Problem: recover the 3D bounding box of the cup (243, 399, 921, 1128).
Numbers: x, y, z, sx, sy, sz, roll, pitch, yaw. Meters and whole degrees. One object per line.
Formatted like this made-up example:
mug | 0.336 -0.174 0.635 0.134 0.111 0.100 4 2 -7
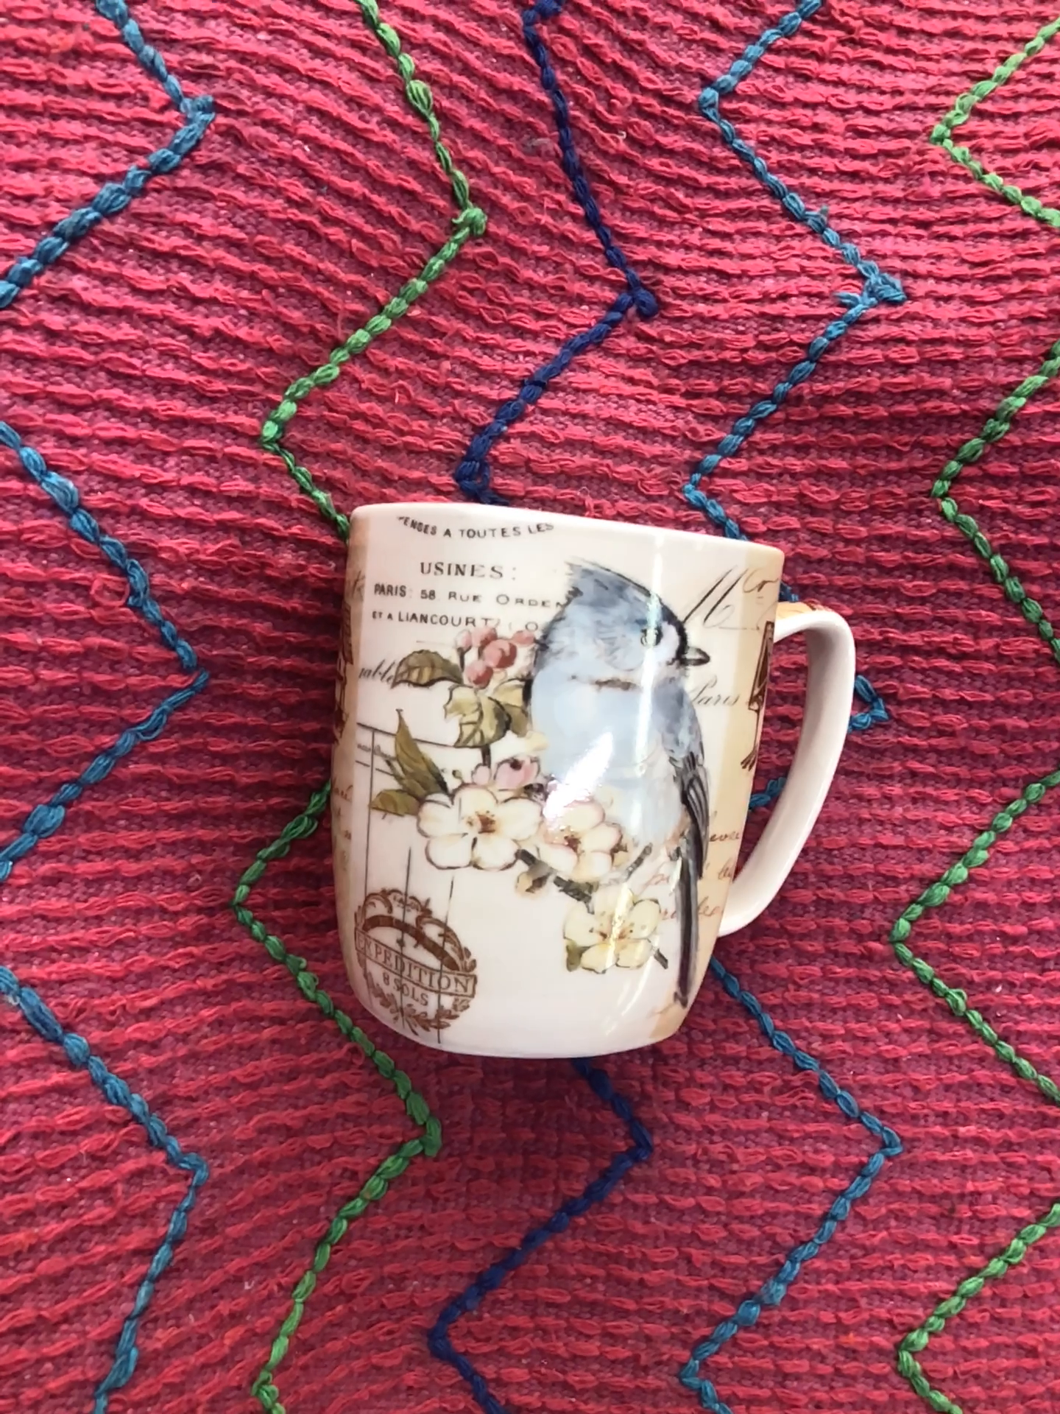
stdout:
cup | 0.008 0.006 0.234 0.110 0.070 0.110 -3 97 -29
